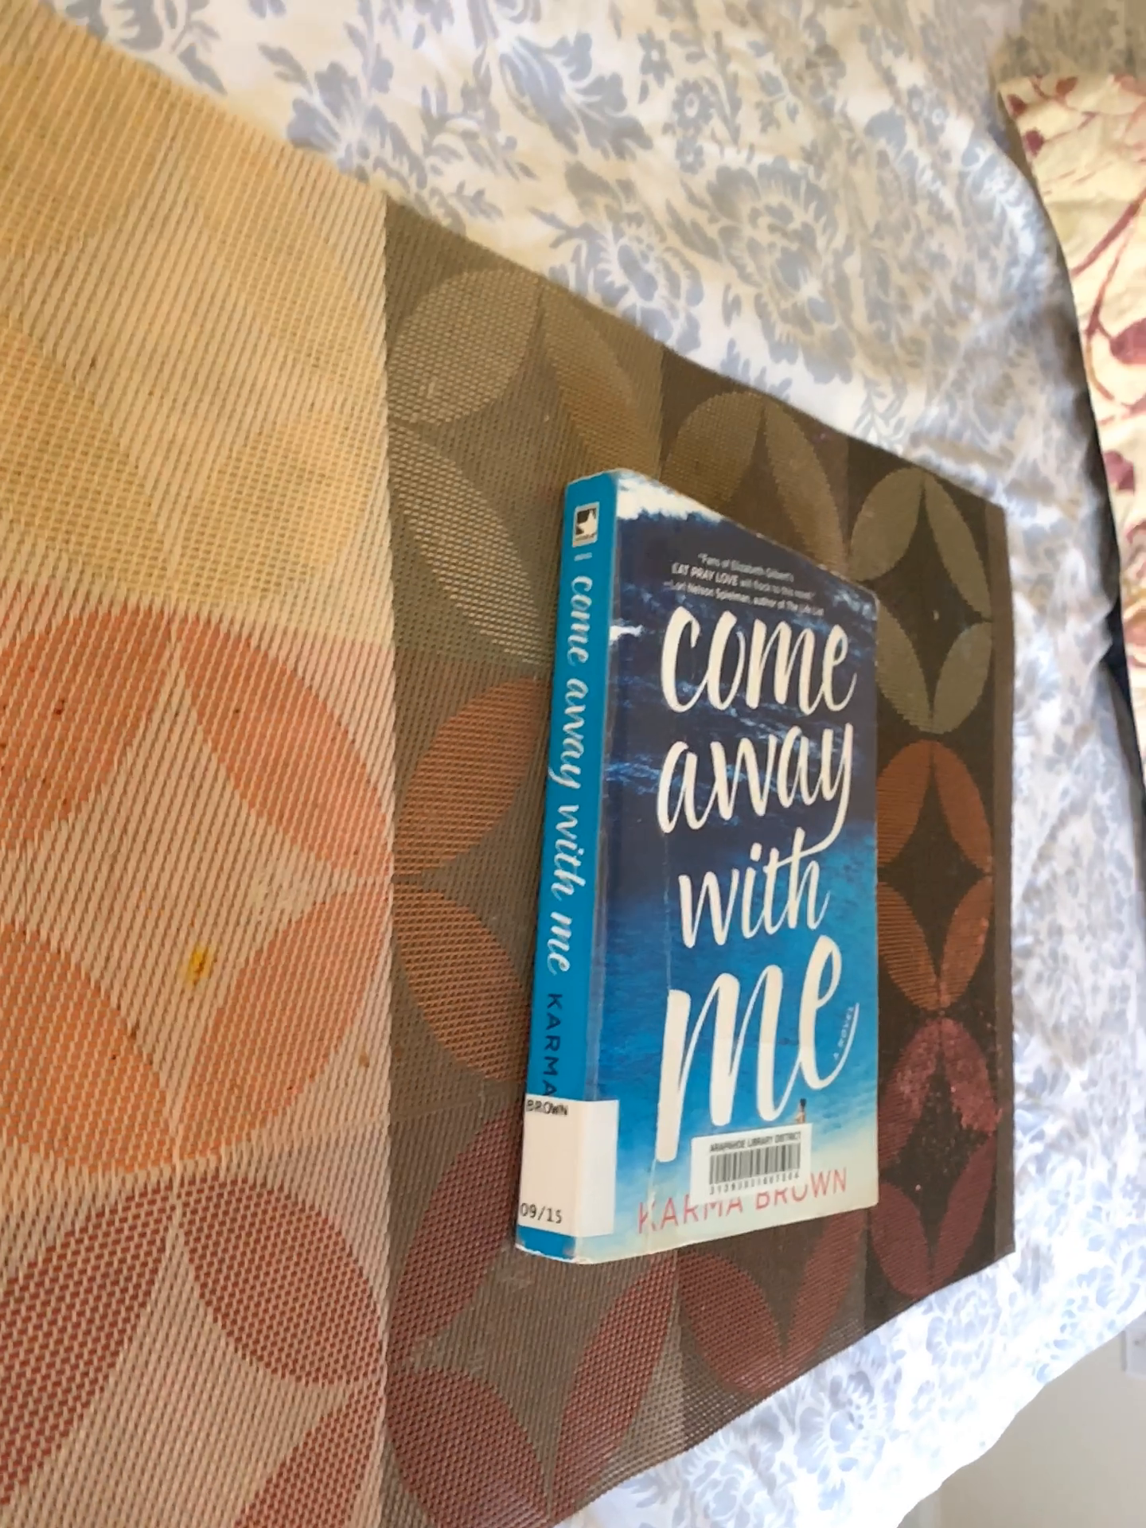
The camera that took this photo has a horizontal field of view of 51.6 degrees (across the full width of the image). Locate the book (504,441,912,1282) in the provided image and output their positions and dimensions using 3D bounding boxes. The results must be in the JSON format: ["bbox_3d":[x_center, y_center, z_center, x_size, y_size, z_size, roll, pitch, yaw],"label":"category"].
[{"bbox_3d":[0.048,0.029,0.339,0.135,0.030,0.200,13,78,-44],"label":"book"}]
